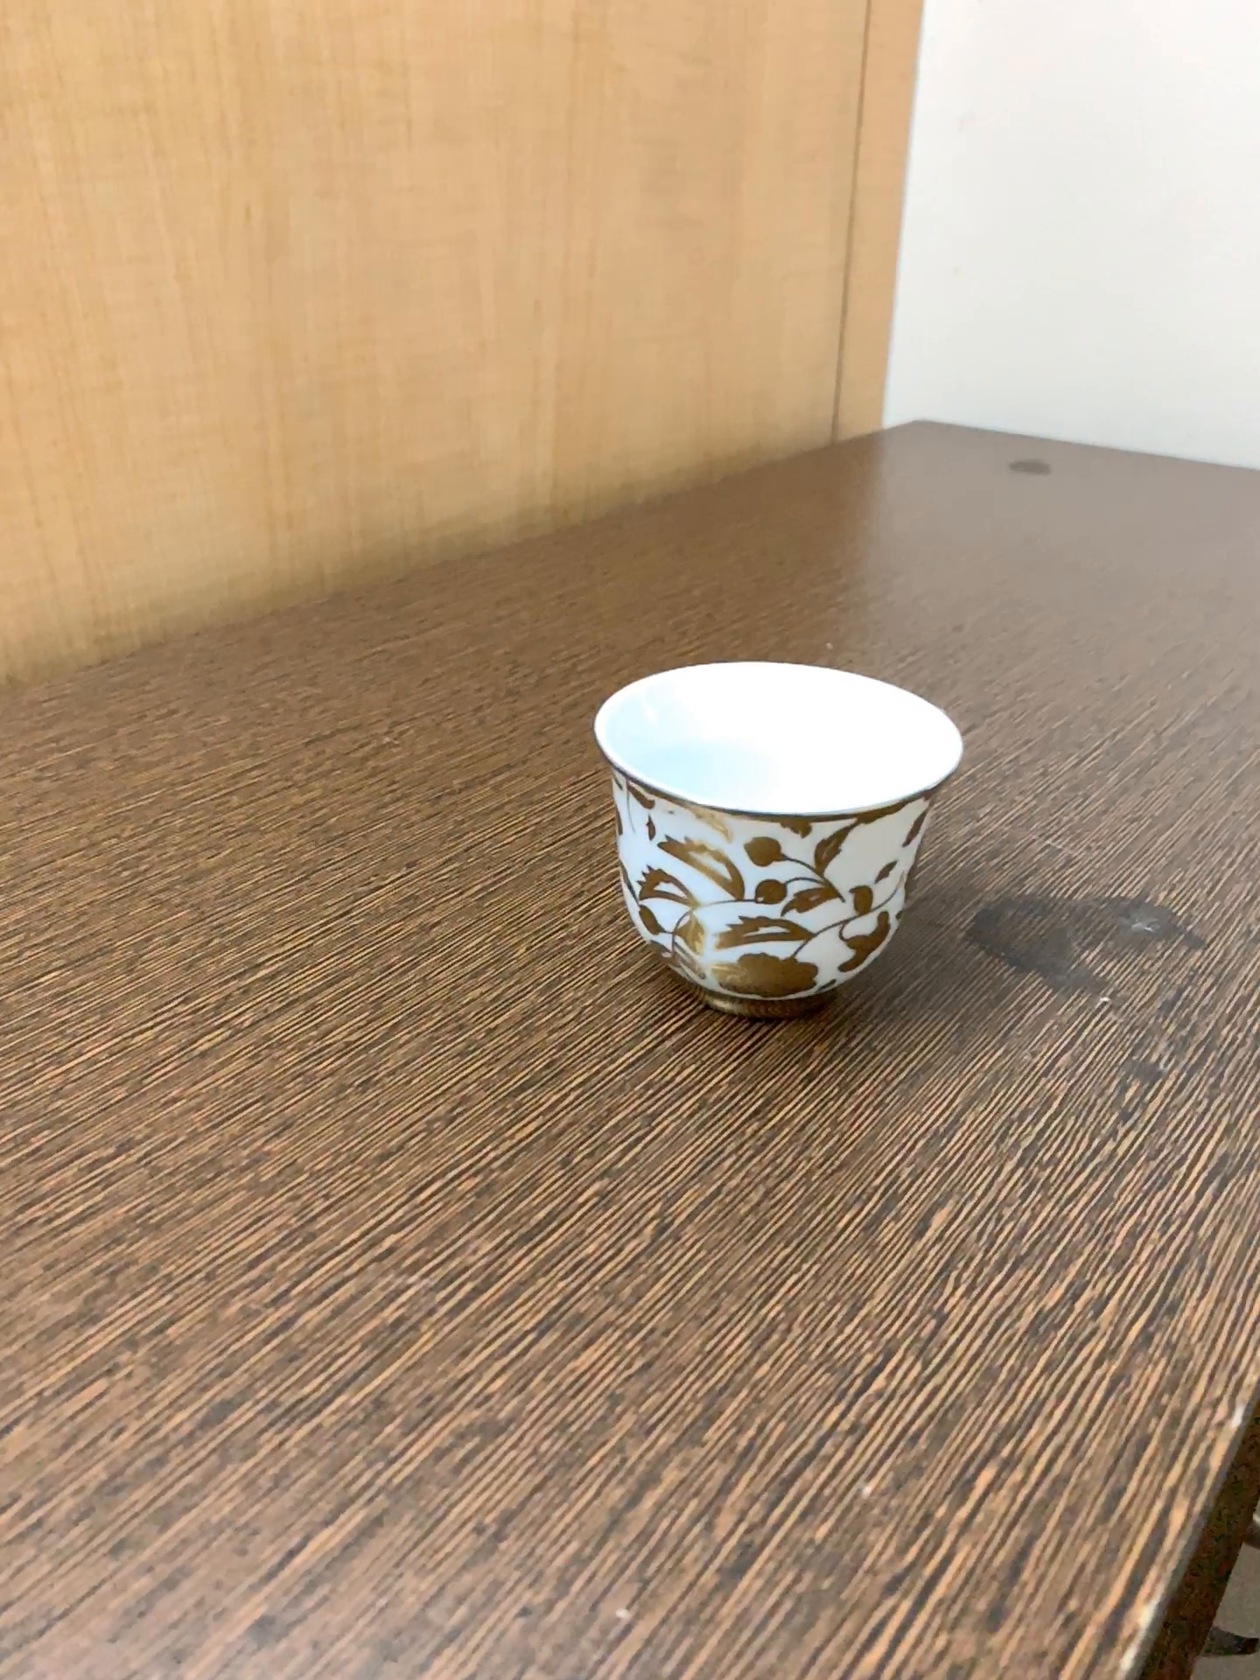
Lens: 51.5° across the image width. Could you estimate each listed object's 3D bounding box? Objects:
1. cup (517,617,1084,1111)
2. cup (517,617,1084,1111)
[{"bbox_3d":[0.032,-0.002,0.252,0.070,0.050,0.080,24,35,37],"label":"cup"},{"bbox_3d":[0.032,-0.002,0.252,0.070,0.050,0.080,24,35,37],"label":"cup"}]
